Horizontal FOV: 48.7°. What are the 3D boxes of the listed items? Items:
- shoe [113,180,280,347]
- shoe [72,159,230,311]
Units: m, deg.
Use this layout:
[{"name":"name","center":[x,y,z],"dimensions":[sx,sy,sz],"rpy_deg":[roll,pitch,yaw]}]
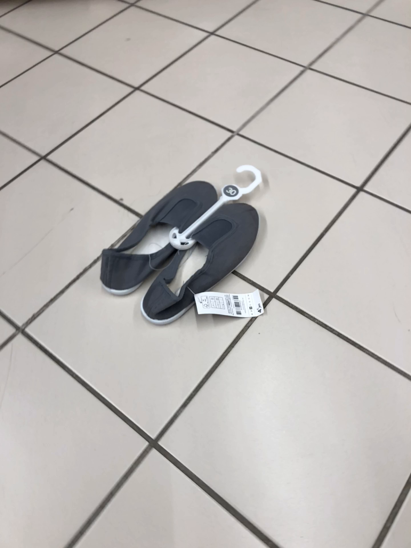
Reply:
[{"name":"shoe","center":[-0.004,-0.018,0.503],"dimensions":[0.077,0.046,0.186],"rpy_deg":[32,63,23]},{"name":"shoe","center":[-0.056,-0.051,0.530],"dimensions":[0.070,0.046,0.186],"rpy_deg":[32,63,23]}]
